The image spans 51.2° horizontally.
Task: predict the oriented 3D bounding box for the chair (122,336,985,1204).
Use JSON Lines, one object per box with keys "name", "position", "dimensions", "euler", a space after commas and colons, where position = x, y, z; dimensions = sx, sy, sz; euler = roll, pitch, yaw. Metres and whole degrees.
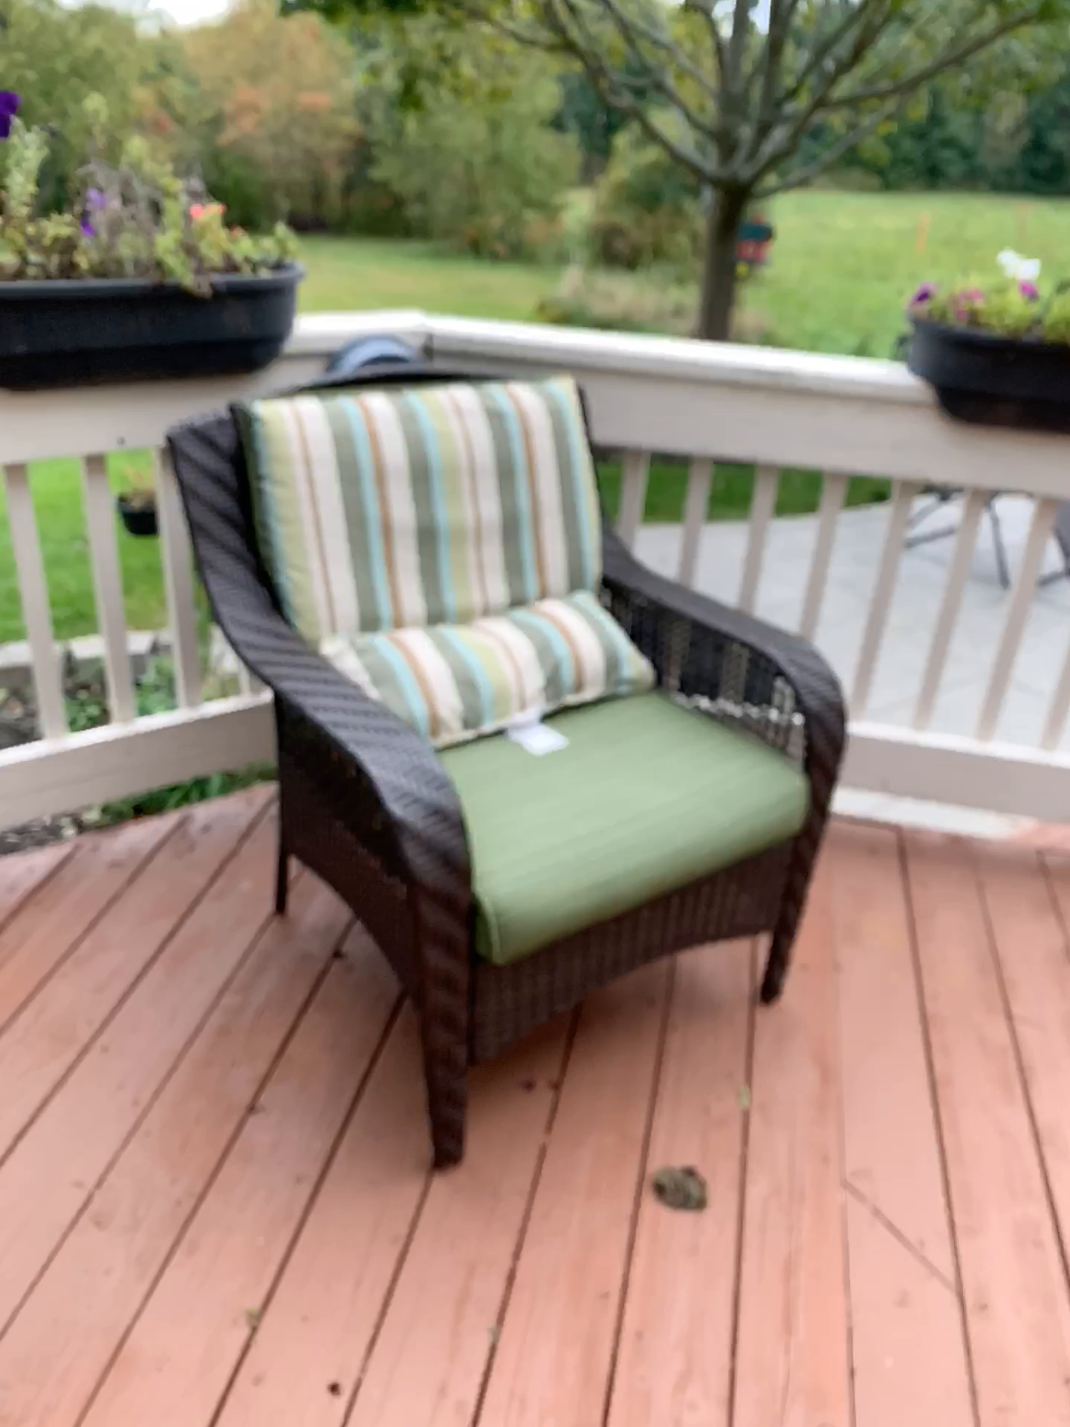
{"name": "chair", "position": [-0.031, -0.045, 1.683], "dimensions": [0.813, 0.824, 0.861], "euler": [-16, 33, -32]}
